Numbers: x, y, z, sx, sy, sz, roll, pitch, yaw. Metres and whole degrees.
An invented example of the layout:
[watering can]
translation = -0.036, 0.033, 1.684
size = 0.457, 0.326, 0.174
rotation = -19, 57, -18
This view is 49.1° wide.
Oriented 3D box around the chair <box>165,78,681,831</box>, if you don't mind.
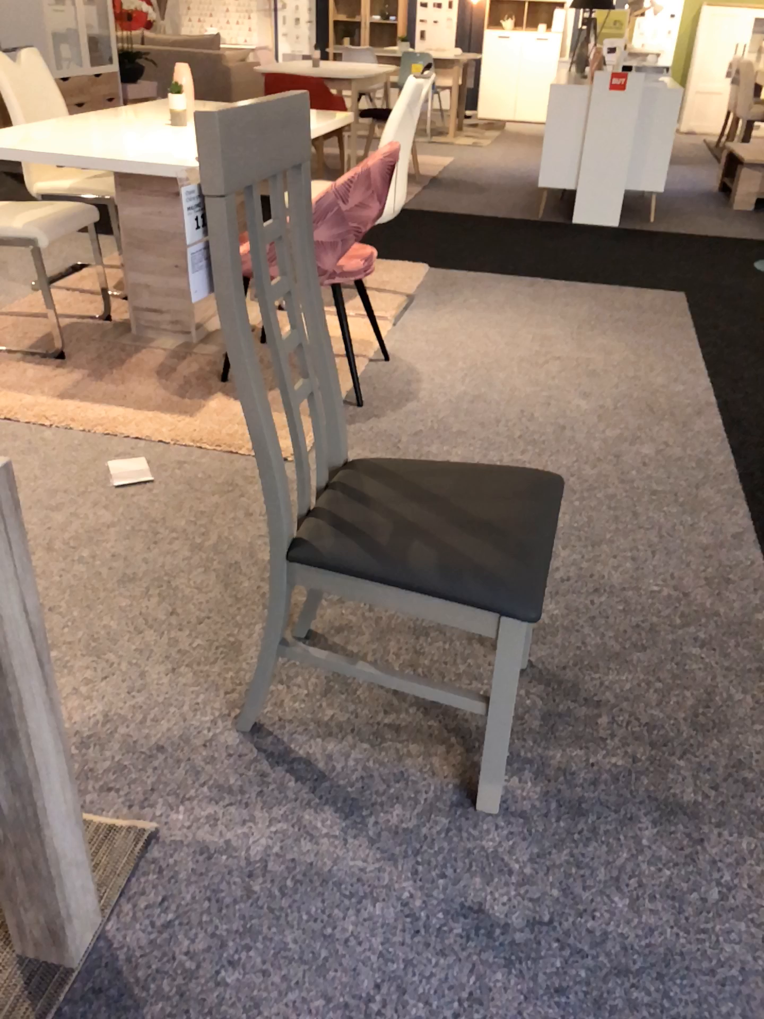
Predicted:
[chair]
translation = 0.069, -0.094, 1.343
size = 0.550, 1.014, 0.514
rotation = 9, 31, 11
